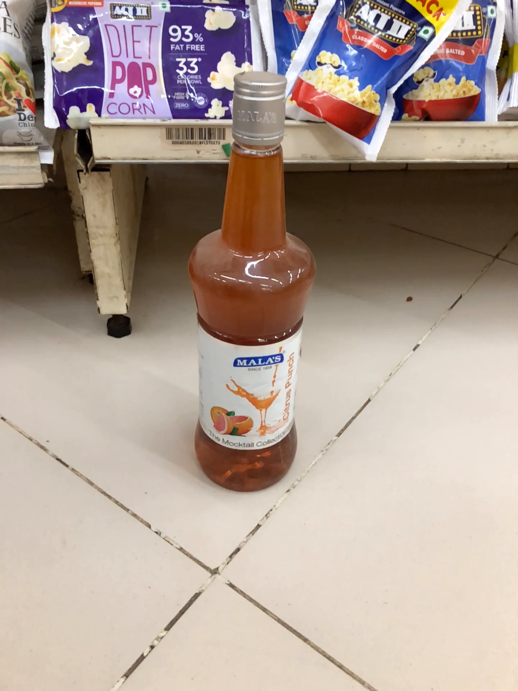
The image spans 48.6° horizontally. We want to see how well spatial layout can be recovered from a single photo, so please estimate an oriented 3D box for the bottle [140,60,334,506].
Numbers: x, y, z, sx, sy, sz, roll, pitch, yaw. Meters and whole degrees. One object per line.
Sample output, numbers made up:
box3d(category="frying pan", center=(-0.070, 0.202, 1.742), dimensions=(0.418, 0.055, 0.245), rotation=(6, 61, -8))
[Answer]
box3d(category="bottle", center=(-0.018, -0.025, 0.389), dimensions=(0.090, 0.288, 0.091), rotation=(0, 37, 0))
